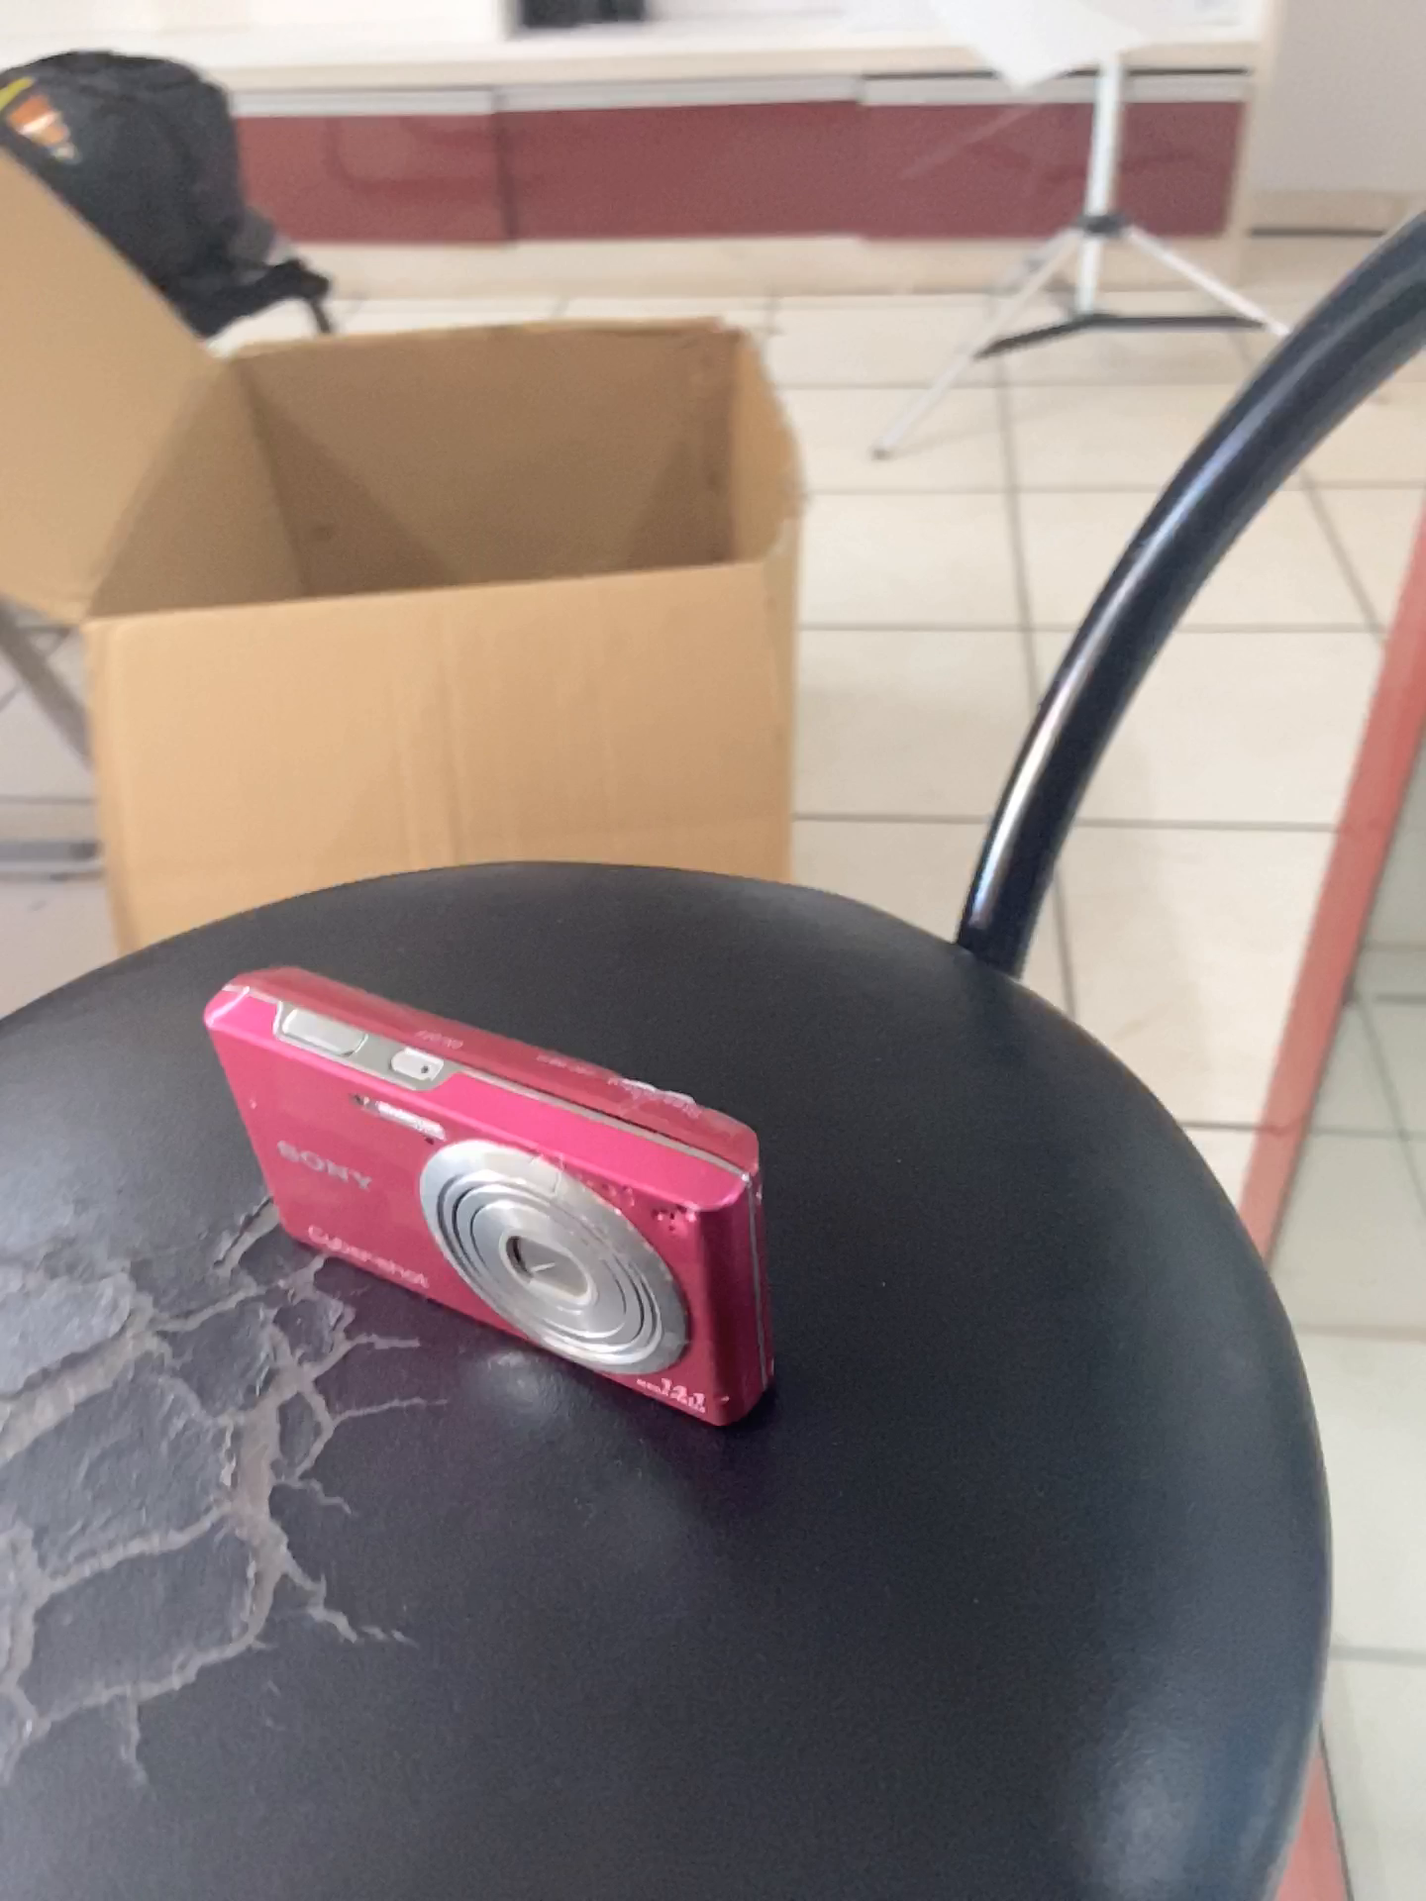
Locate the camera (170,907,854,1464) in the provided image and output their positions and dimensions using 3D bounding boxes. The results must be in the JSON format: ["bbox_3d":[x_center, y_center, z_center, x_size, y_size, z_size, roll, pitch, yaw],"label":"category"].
[{"bbox_3d":[-0.030,0.034,0.231,0.100,0.050,0.030,16,44,25],"label":"camera"}]
